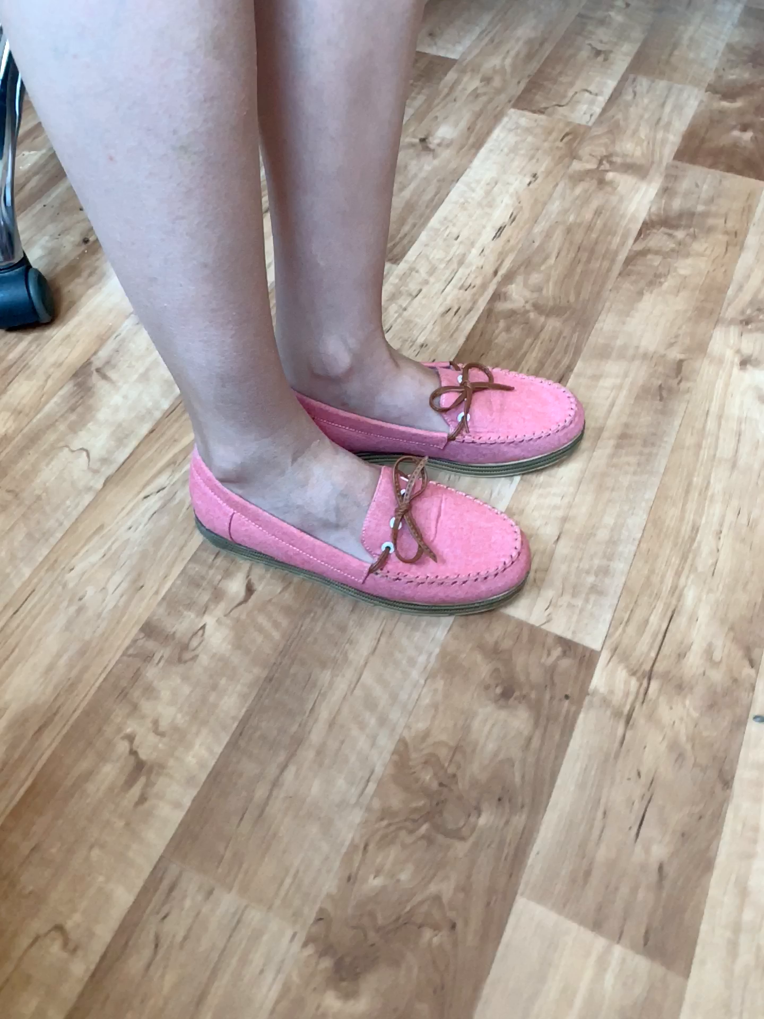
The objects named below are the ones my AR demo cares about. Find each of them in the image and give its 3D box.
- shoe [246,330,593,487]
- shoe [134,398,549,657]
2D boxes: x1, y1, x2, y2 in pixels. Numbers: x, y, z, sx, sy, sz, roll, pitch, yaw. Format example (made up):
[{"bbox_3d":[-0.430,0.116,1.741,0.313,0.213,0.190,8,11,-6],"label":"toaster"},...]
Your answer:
[{"bbox_3d":[0.030,-0.080,0.614,0.250,0.060,0.090,4,56,4],"label":"shoe"},{"bbox_3d":[-0.027,0.008,0.550,0.260,0.060,0.100,16,58,12],"label":"shoe"}]
